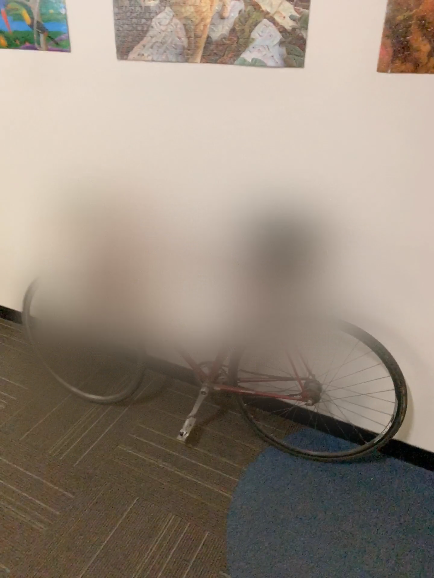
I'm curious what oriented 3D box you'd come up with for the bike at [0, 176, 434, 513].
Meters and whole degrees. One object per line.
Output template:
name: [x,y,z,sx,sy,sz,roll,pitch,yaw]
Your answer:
bike: [-0.085,0.145,1.780,1.628,0.909,0.450,11,31,17]
